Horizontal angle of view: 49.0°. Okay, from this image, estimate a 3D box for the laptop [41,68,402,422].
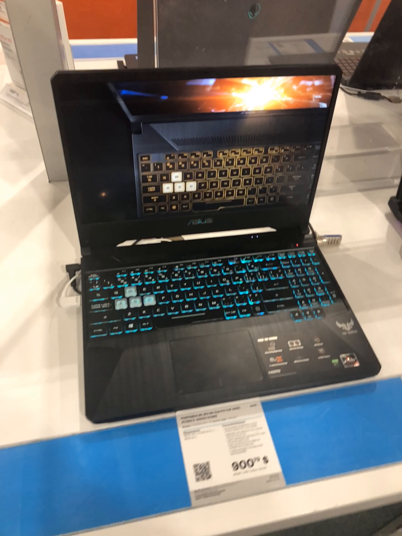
[{"bbox_3d":[0.025,-0.045,0.527,0.350,0.235,0.302,-7,49,-10],"label":"laptop"}]
